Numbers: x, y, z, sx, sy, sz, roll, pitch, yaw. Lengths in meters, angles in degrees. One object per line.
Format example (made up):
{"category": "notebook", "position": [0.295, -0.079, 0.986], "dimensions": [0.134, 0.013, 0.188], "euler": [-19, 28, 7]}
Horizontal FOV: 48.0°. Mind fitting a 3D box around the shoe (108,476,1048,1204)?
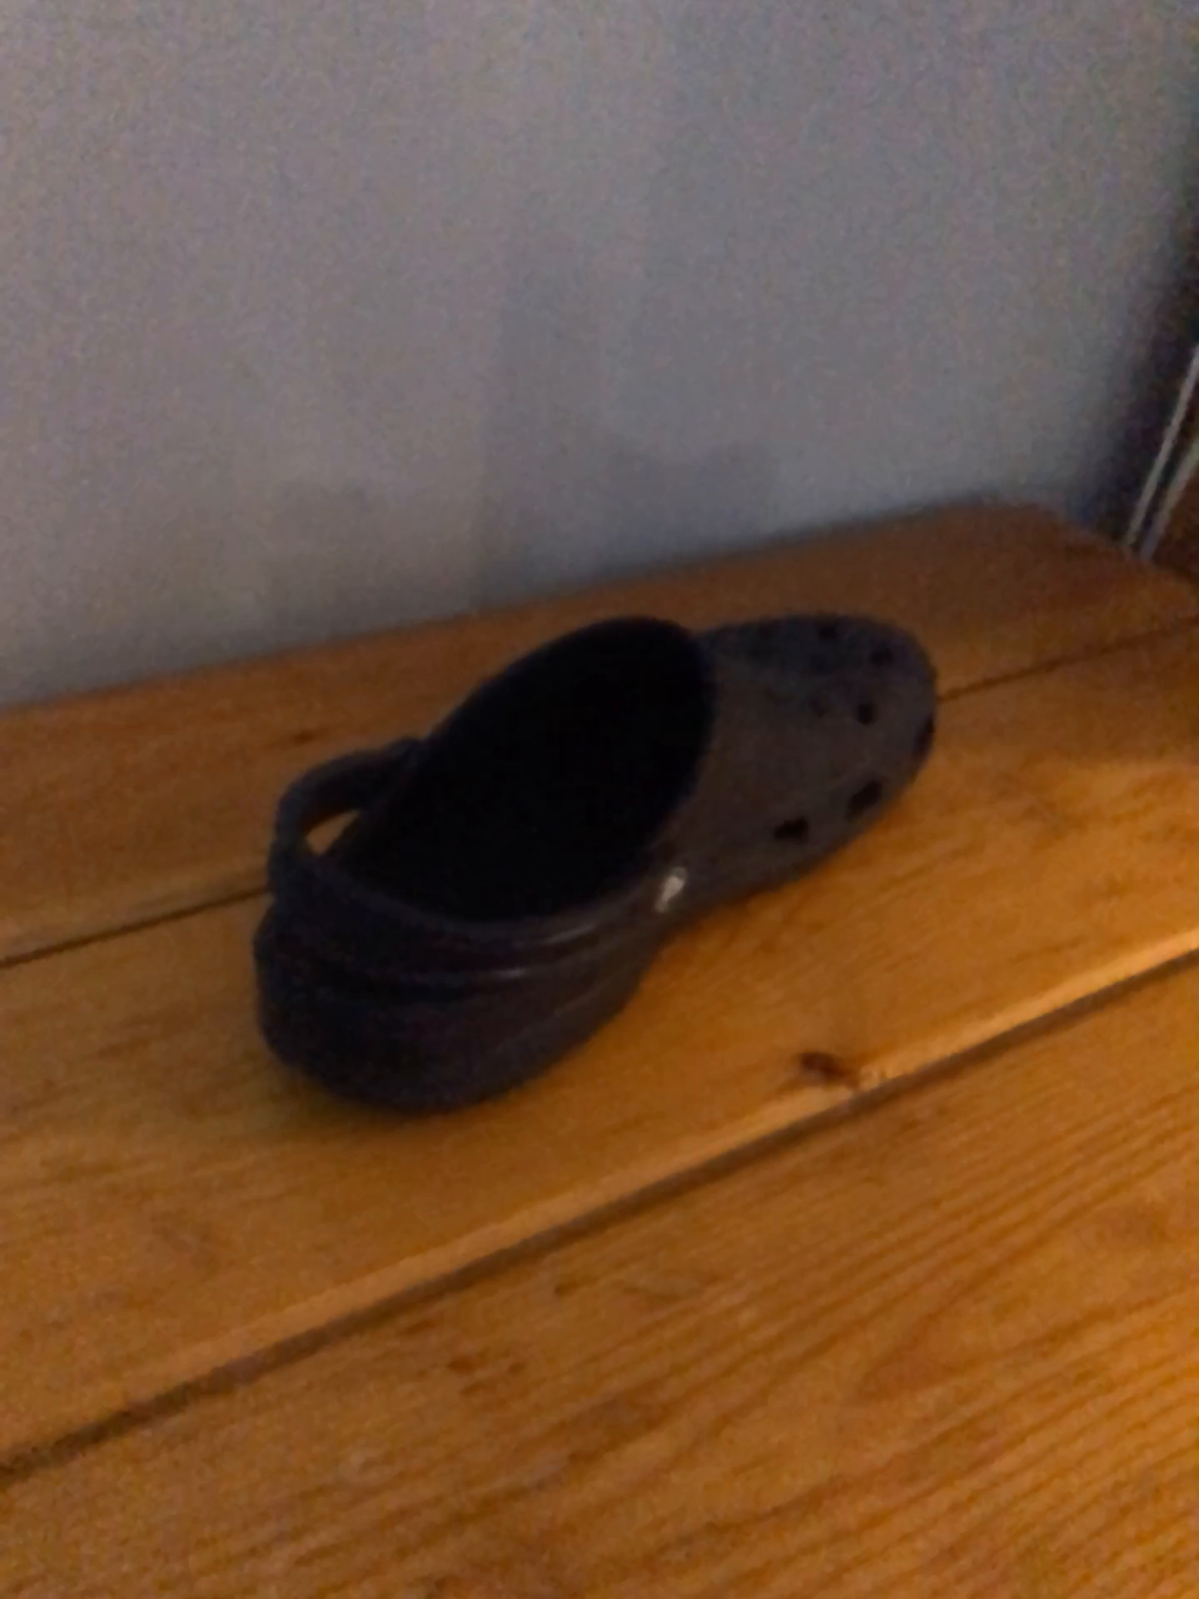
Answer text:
{"category": "shoe", "position": [0.009, -0.014, 0.447], "dimensions": [0.130, 0.080, 0.291], "euler": [32, 44, 32]}
